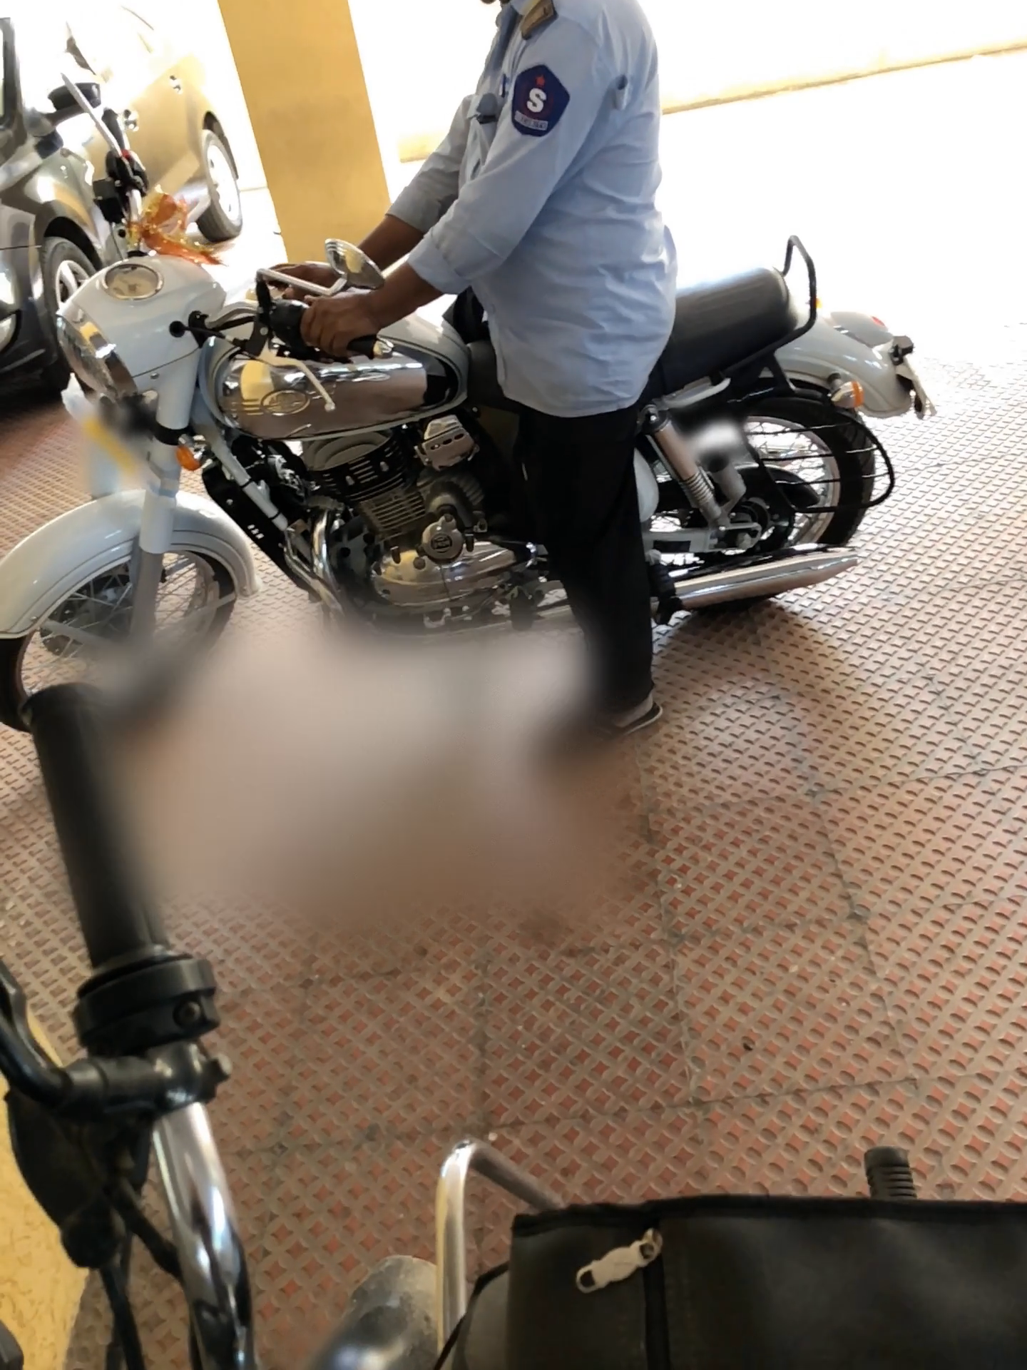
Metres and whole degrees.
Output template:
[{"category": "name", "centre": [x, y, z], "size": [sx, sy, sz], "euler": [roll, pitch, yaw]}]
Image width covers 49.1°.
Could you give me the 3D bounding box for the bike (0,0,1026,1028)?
[{"category": "bike", "centre": [-0.190, -0.366, 2.005], "size": [1.899, 1.234, 0.848], "euler": [-13, 35, -3]}]
